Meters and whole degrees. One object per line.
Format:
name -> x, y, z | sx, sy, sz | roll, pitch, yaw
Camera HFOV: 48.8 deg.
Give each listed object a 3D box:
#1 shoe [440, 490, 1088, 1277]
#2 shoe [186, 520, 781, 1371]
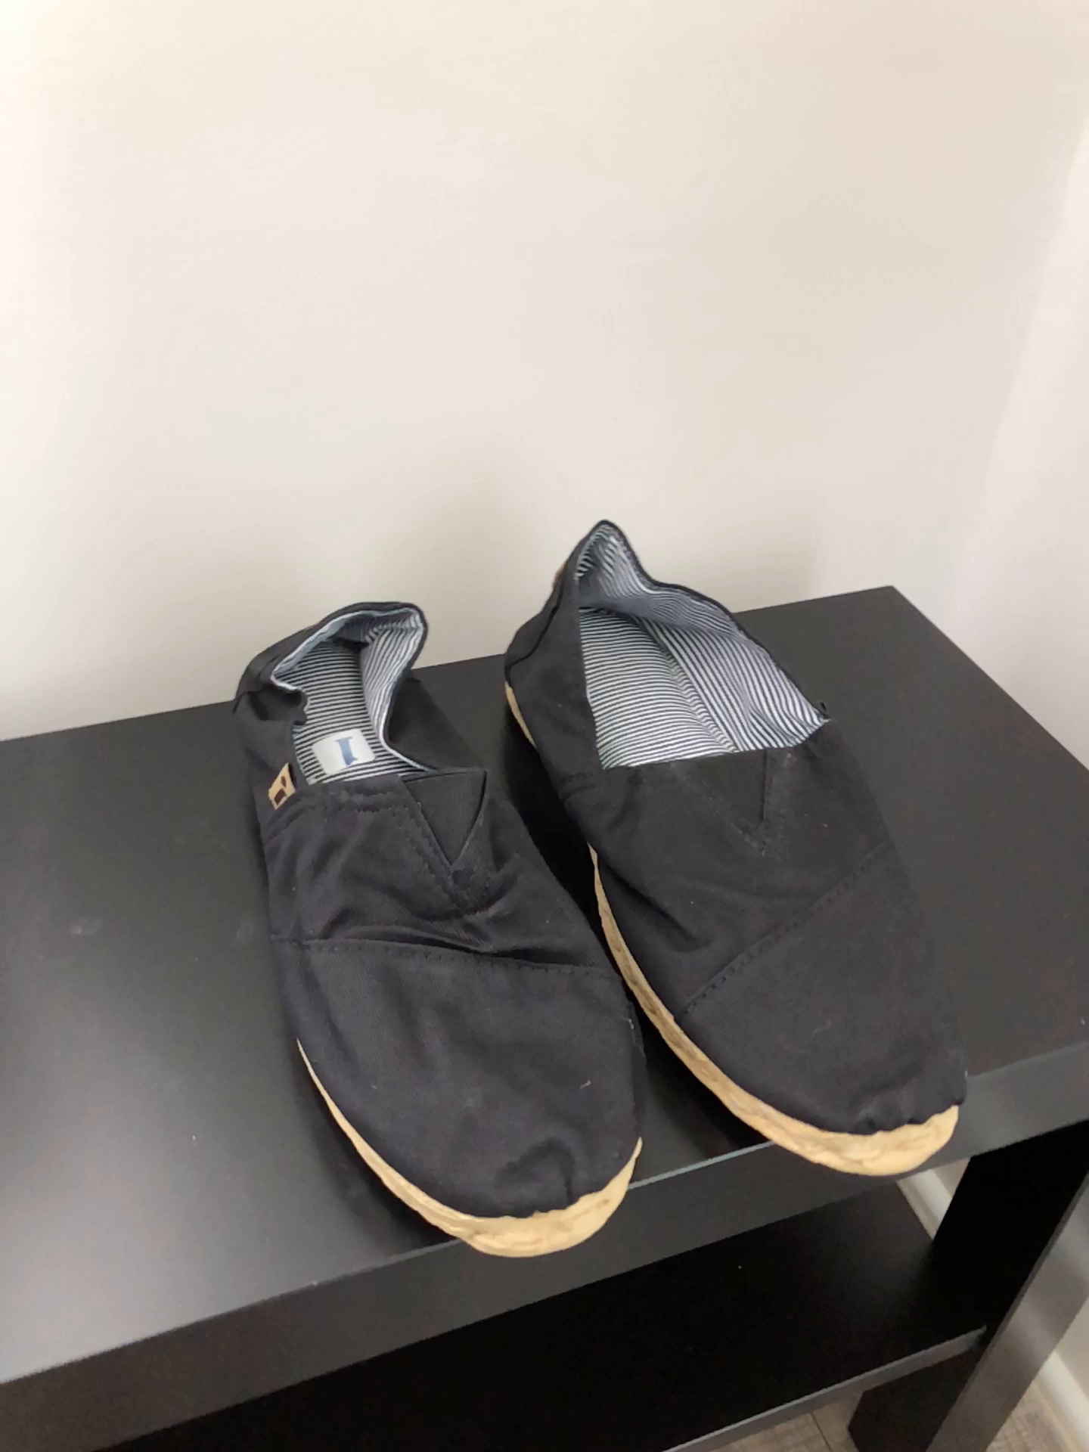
shoe -> 0.052, 0.025, 0.411 | 0.101, 0.080, 0.275 | -11, 41, -18
shoe -> -0.041, 0.040, 0.393 | 0.101, 0.080, 0.275 | -11, 41, -18
